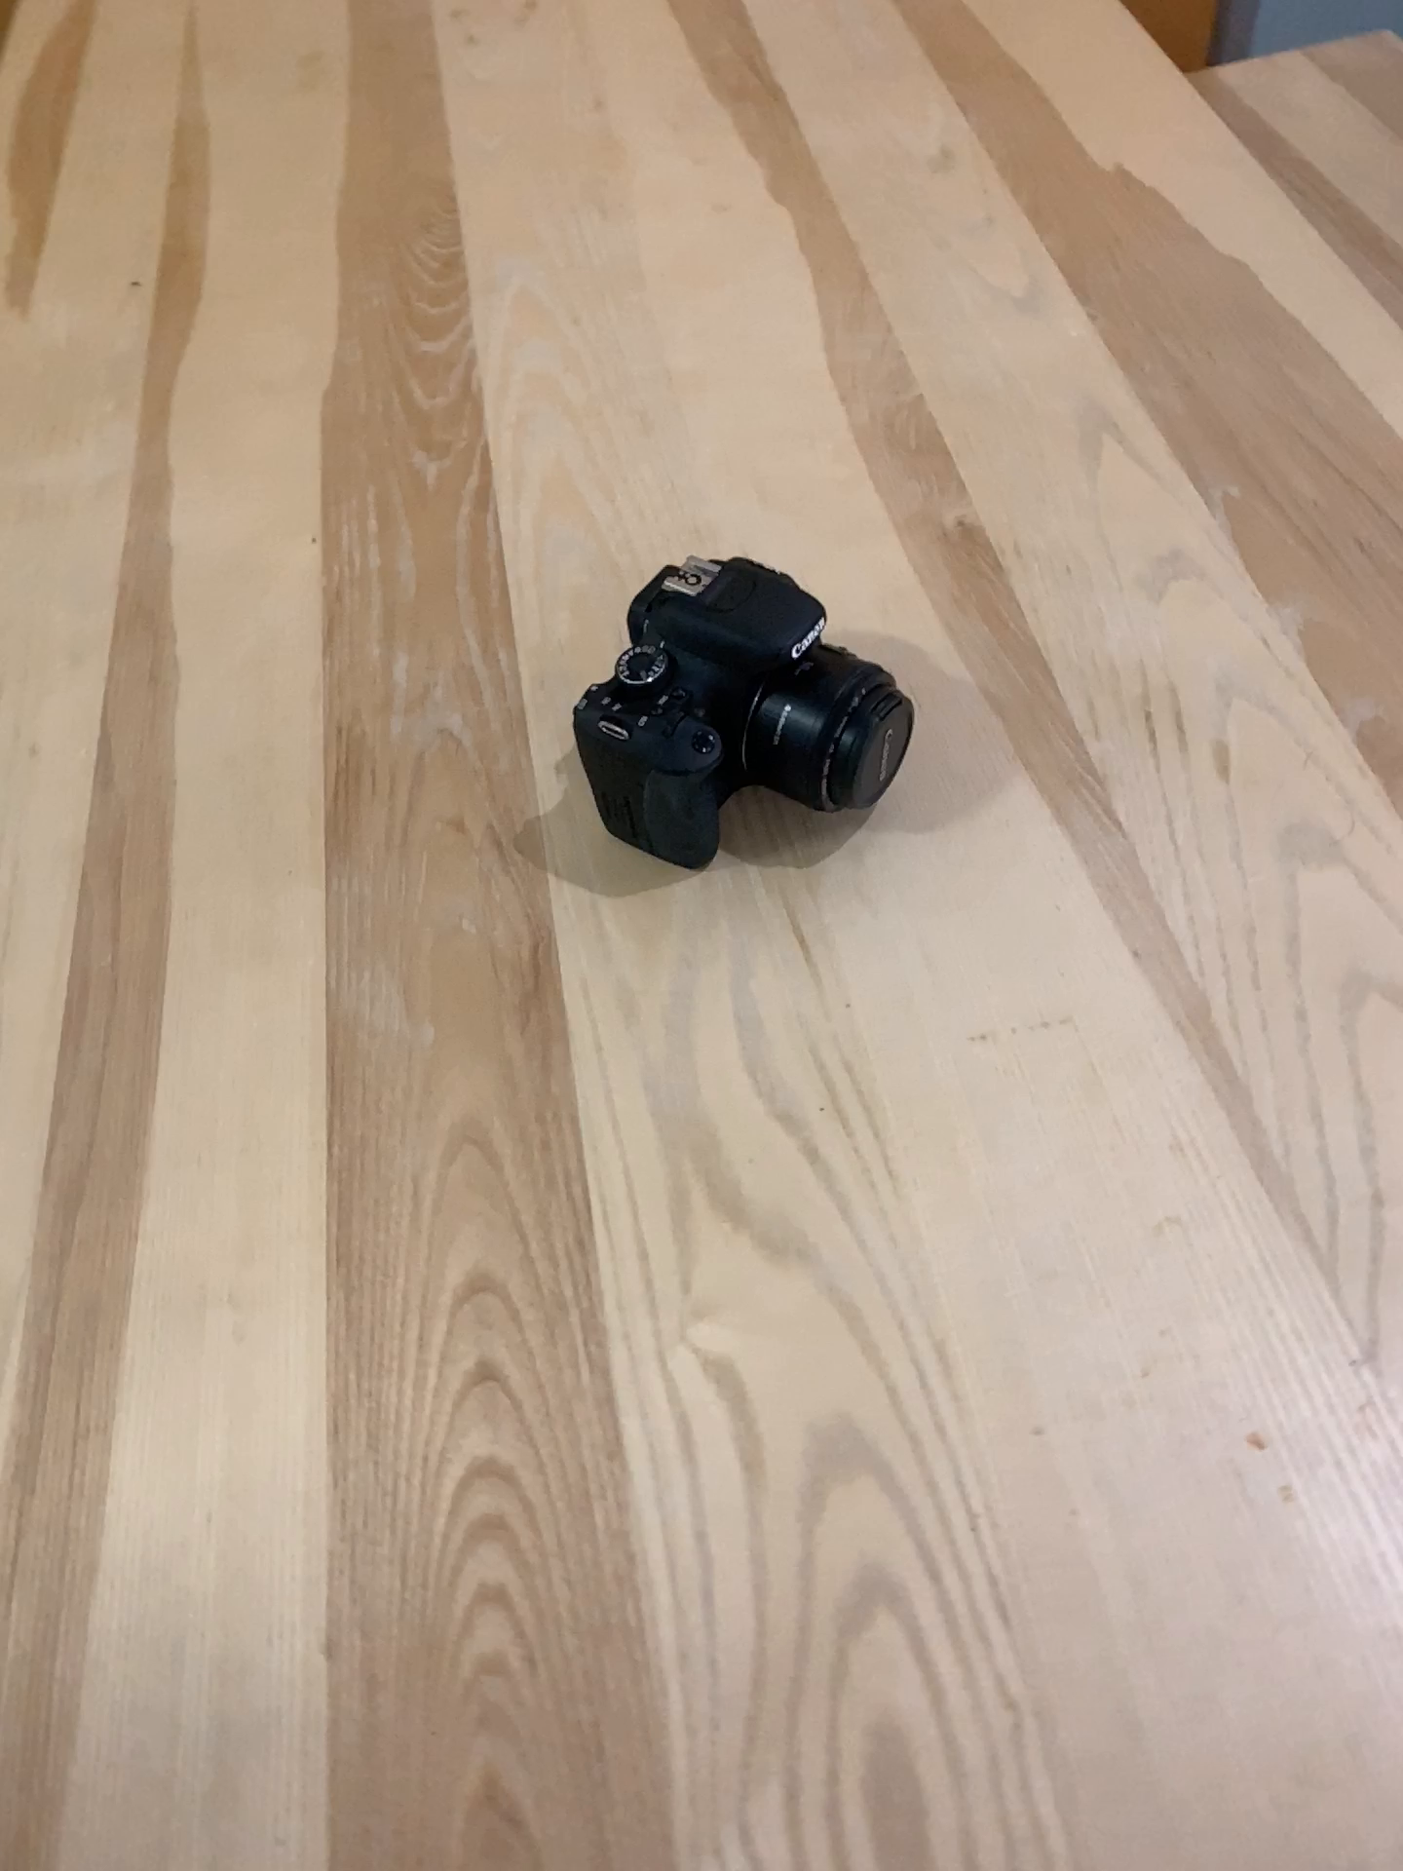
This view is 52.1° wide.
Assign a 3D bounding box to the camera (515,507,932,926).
[{"bbox_3d":[0.014,-0.100,0.637,0.127,0.089,0.127,26,60,24],"label":"camera"}]
